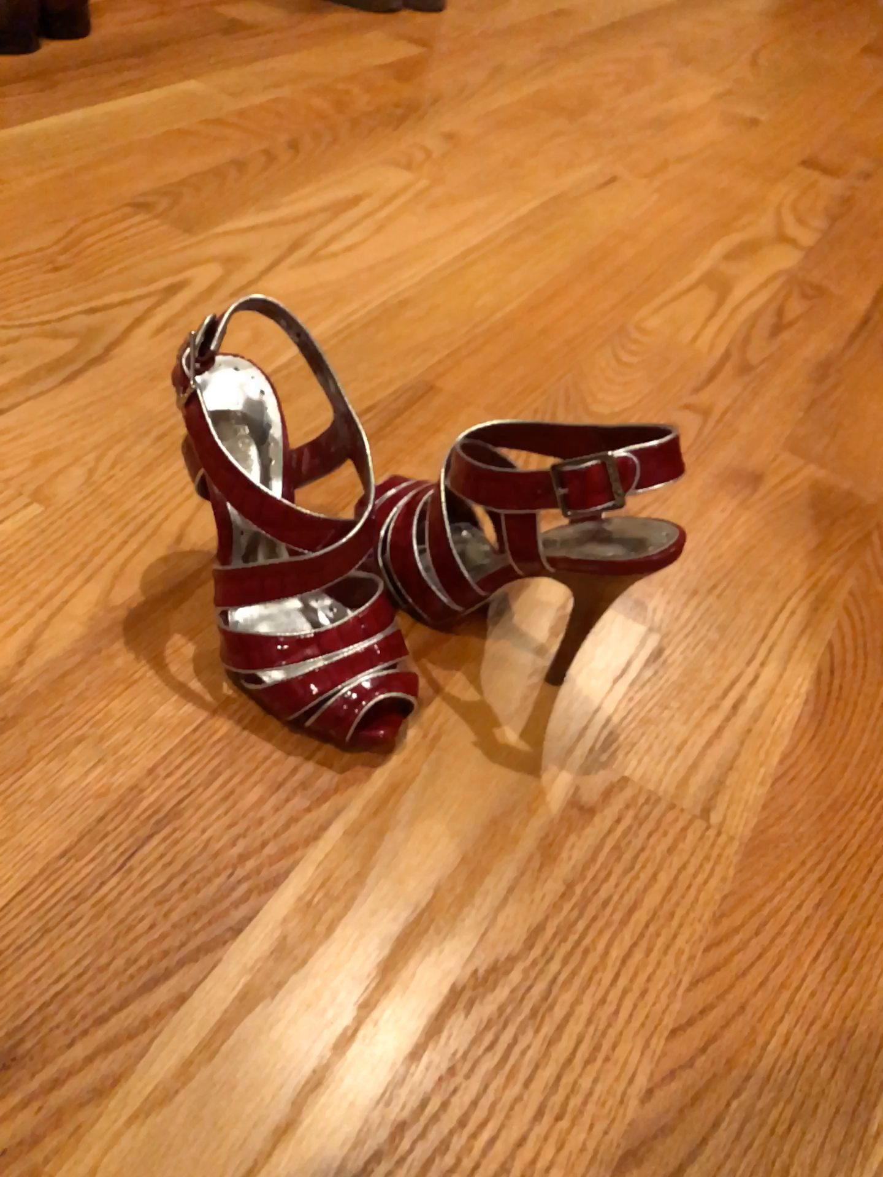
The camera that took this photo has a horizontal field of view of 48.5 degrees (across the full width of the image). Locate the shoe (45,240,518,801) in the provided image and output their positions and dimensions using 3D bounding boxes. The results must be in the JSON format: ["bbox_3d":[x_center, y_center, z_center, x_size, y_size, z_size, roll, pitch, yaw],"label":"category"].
[{"bbox_3d":[-0.082,-0.037,0.447,0.092,0.151,0.199,-27,56,-35],"label":"shoe"}]

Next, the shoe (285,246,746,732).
[{"bbox_3d":[0.023,-0.055,0.492,0.194,0.141,0.092,39,49,25],"label":"shoe"}]
